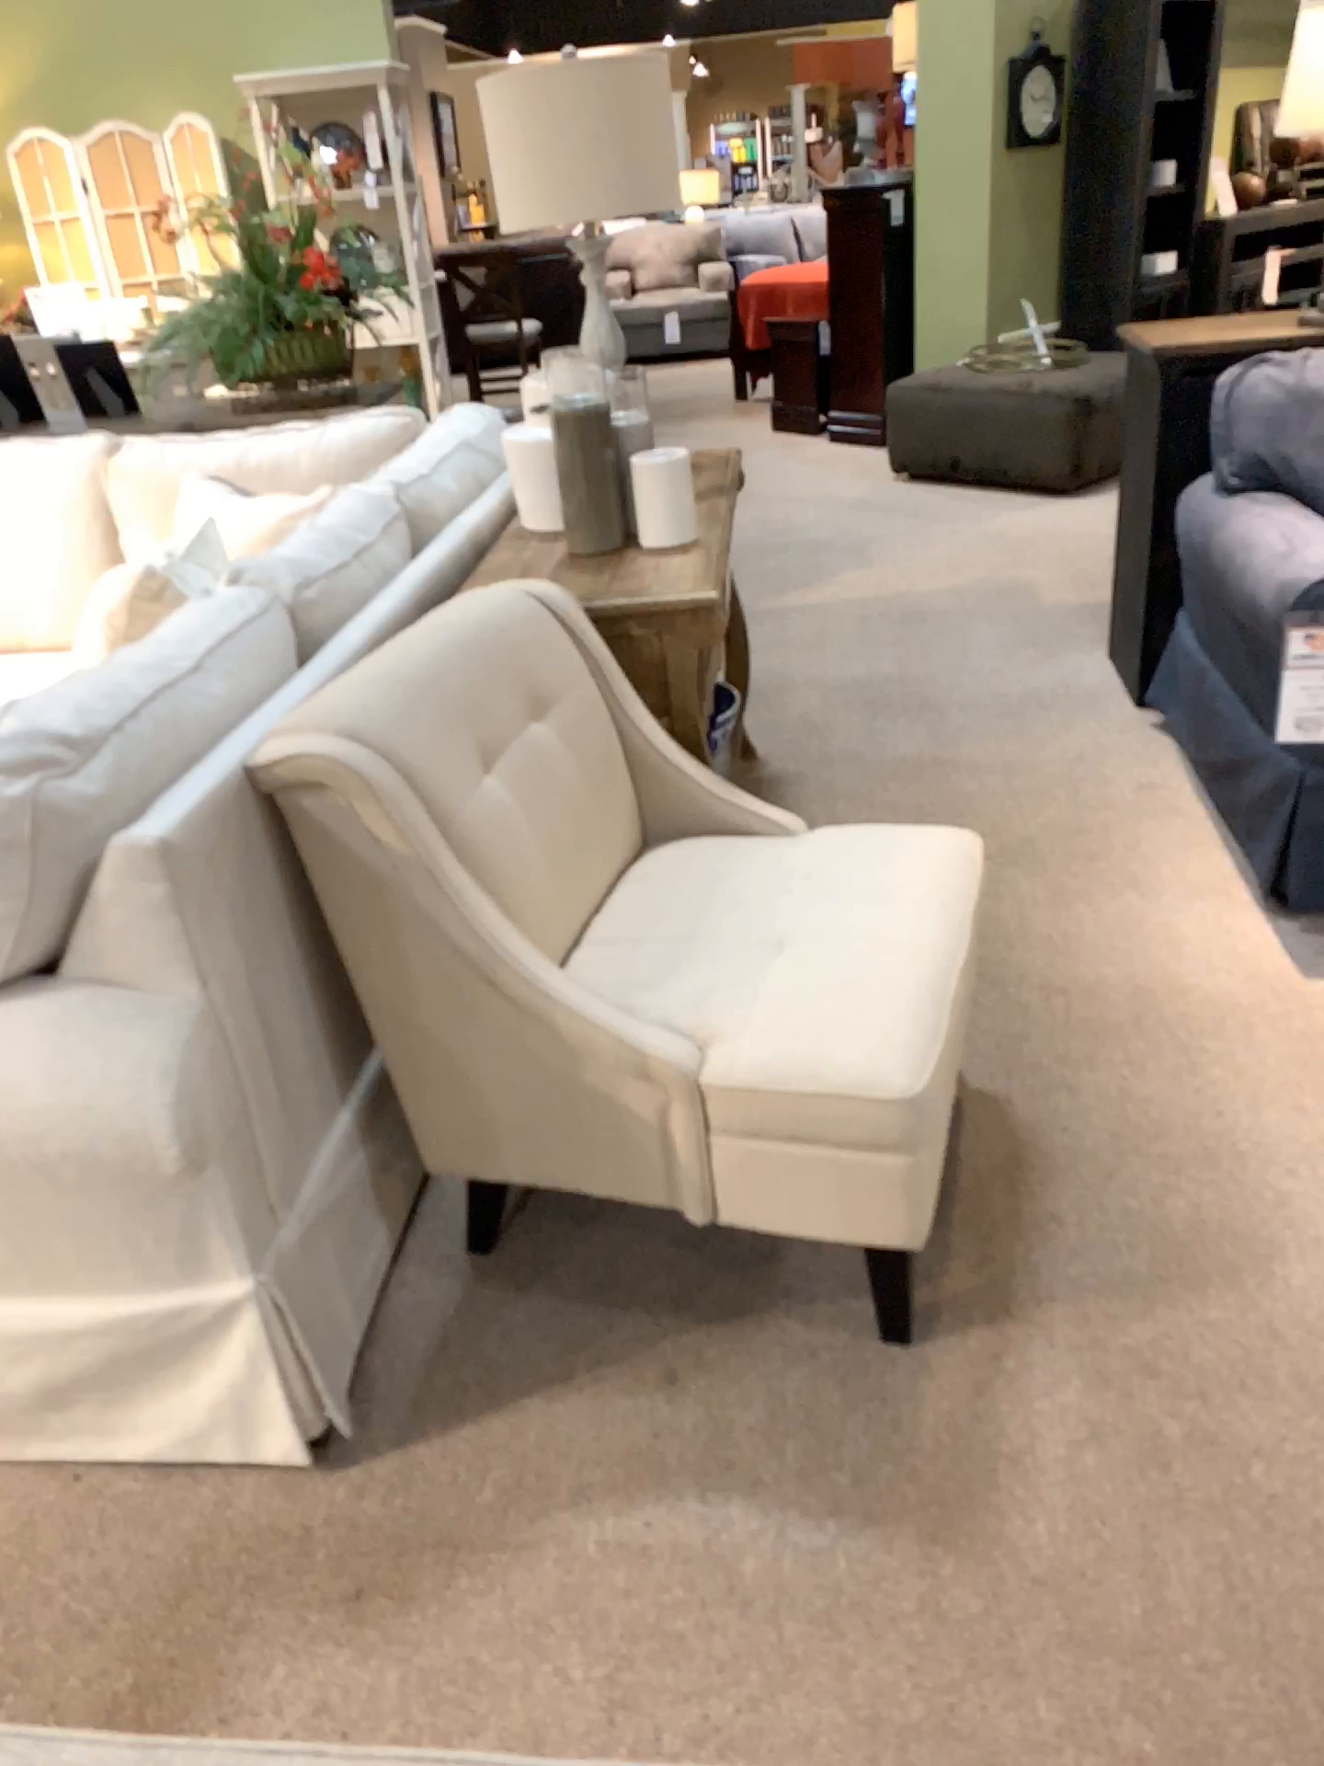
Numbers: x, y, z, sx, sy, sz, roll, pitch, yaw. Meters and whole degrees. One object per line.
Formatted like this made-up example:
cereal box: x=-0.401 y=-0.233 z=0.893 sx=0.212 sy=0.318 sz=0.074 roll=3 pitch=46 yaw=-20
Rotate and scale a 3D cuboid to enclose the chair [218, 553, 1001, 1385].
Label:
chair: x=0.024 y=0.048 z=1.815 sx=0.771 sy=0.800 sz=0.716 roll=4 pitch=29 yaw=17
